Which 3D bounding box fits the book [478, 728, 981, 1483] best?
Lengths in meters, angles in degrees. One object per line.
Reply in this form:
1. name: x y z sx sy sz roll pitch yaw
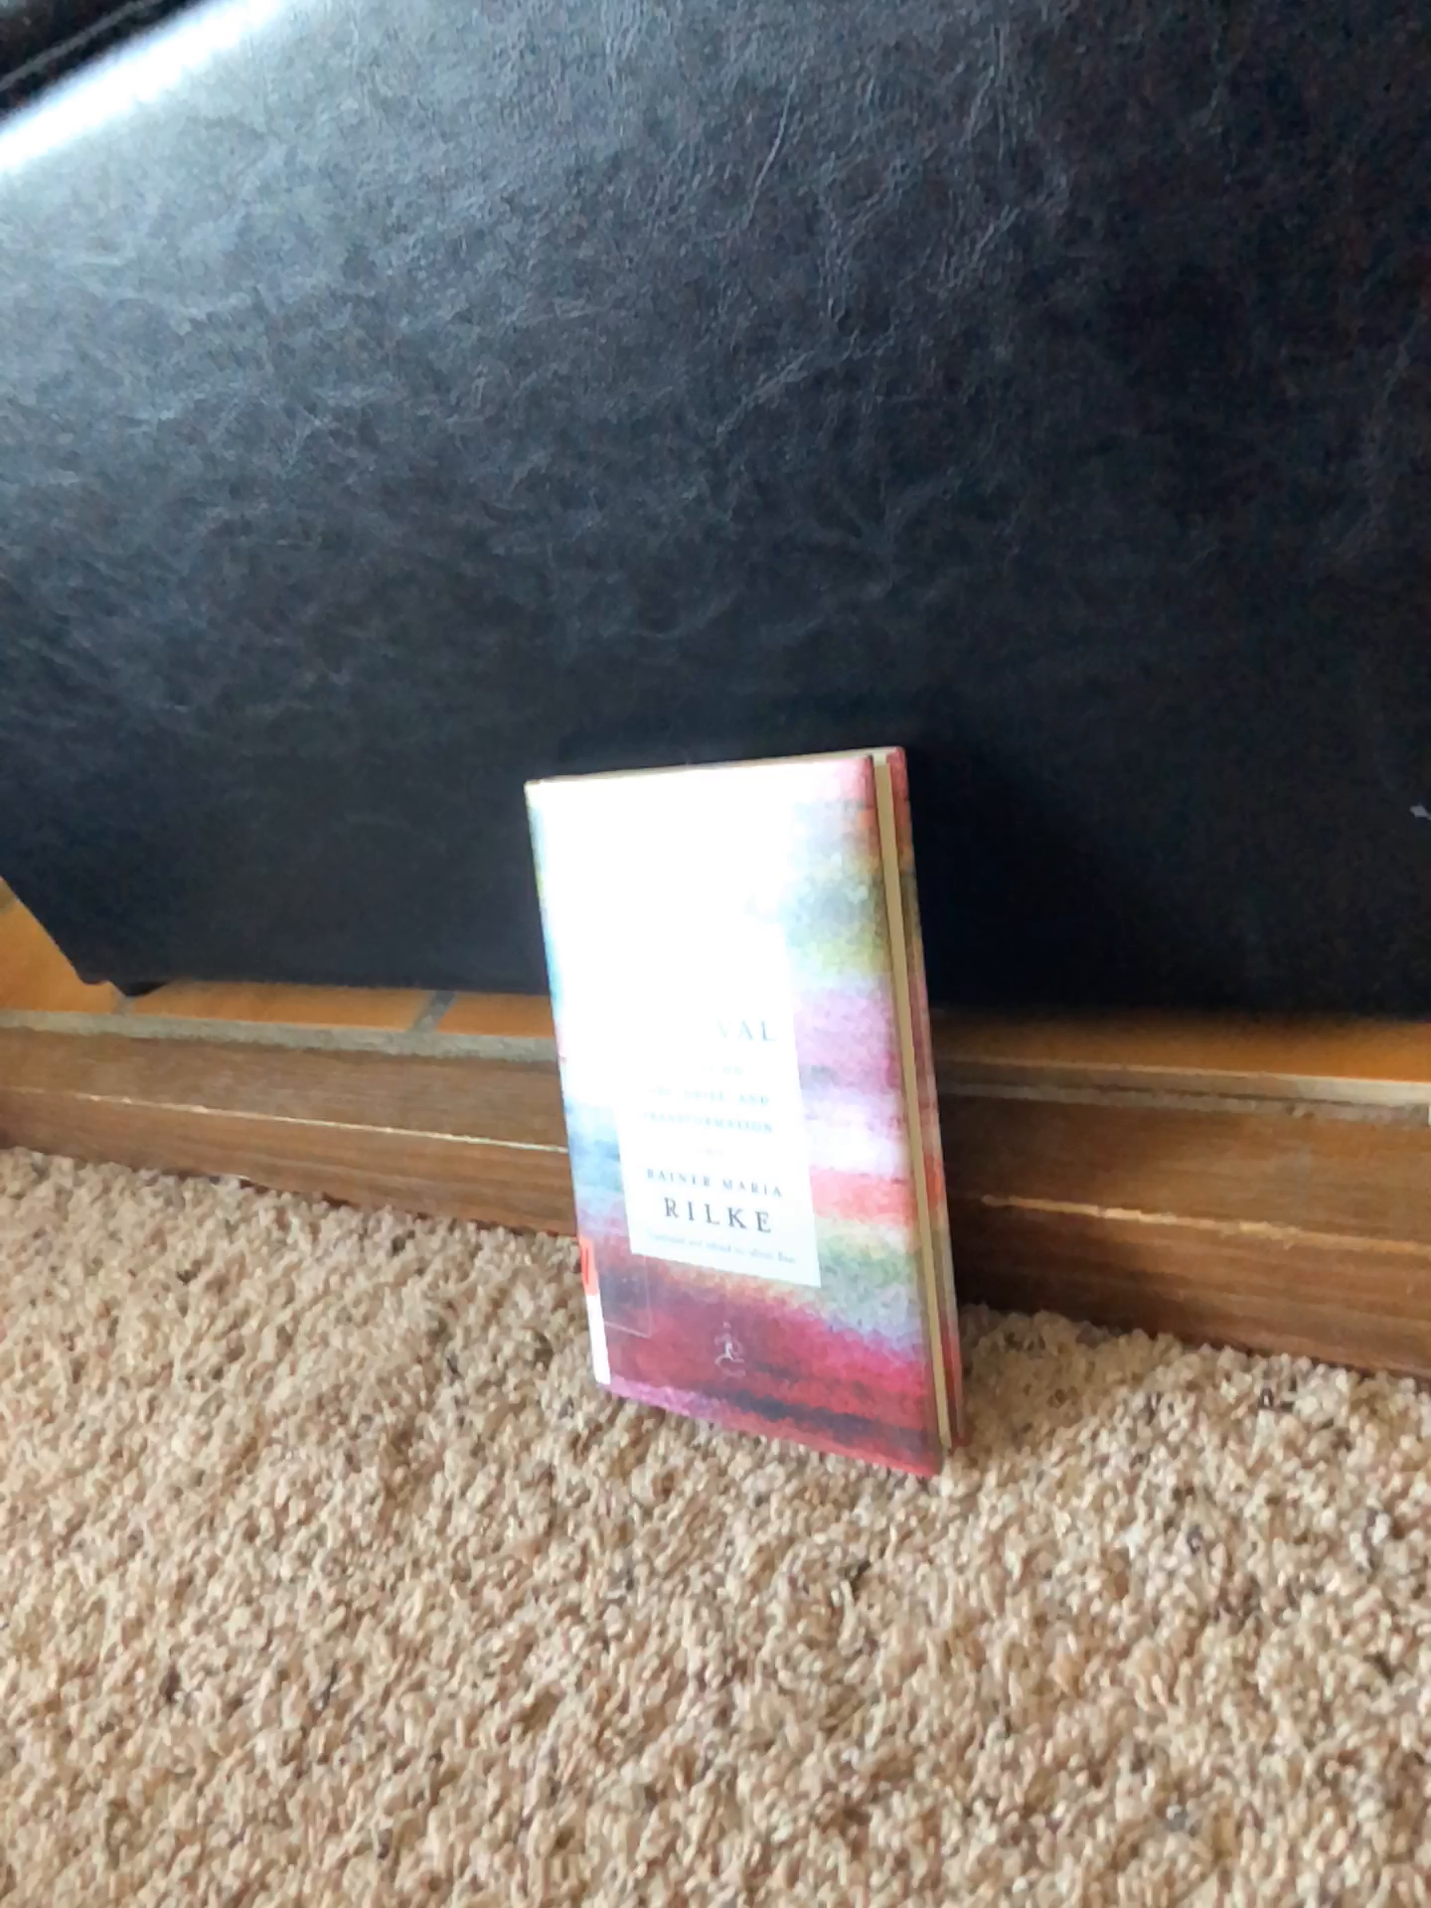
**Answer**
1. book: 0.001 0.037 0.443 0.136 0.190 0.030 2 11 39
